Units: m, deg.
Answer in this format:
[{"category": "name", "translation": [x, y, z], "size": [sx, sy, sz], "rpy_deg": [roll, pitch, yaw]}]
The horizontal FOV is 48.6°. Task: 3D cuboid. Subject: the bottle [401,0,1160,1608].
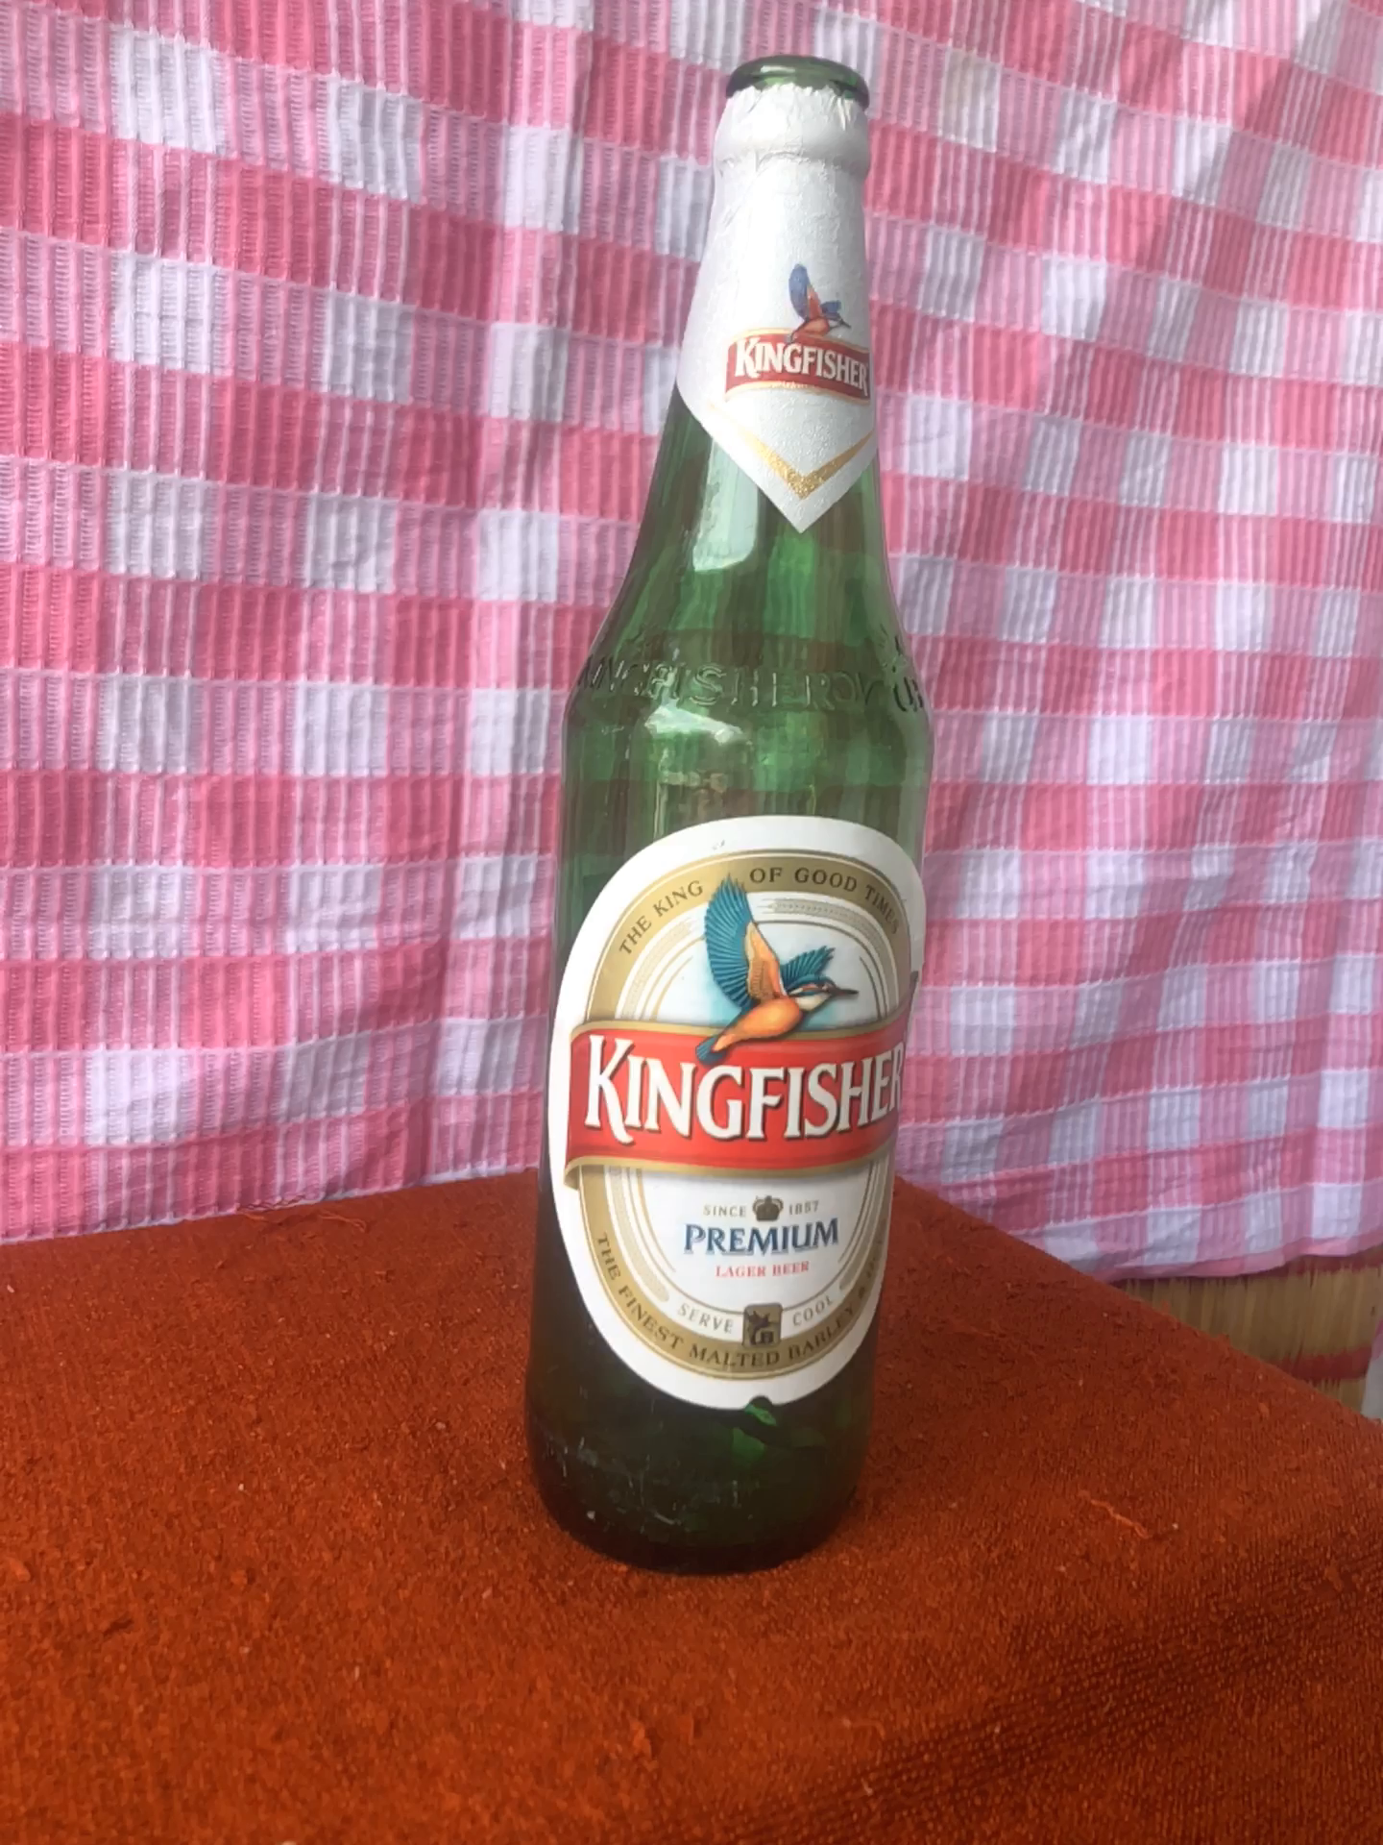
[{"category": "bottle", "translation": [0.004, -0.022, 0.301], "size": [0.090, 0.289, 0.080], "rpy_deg": [5, 12, -15]}]
